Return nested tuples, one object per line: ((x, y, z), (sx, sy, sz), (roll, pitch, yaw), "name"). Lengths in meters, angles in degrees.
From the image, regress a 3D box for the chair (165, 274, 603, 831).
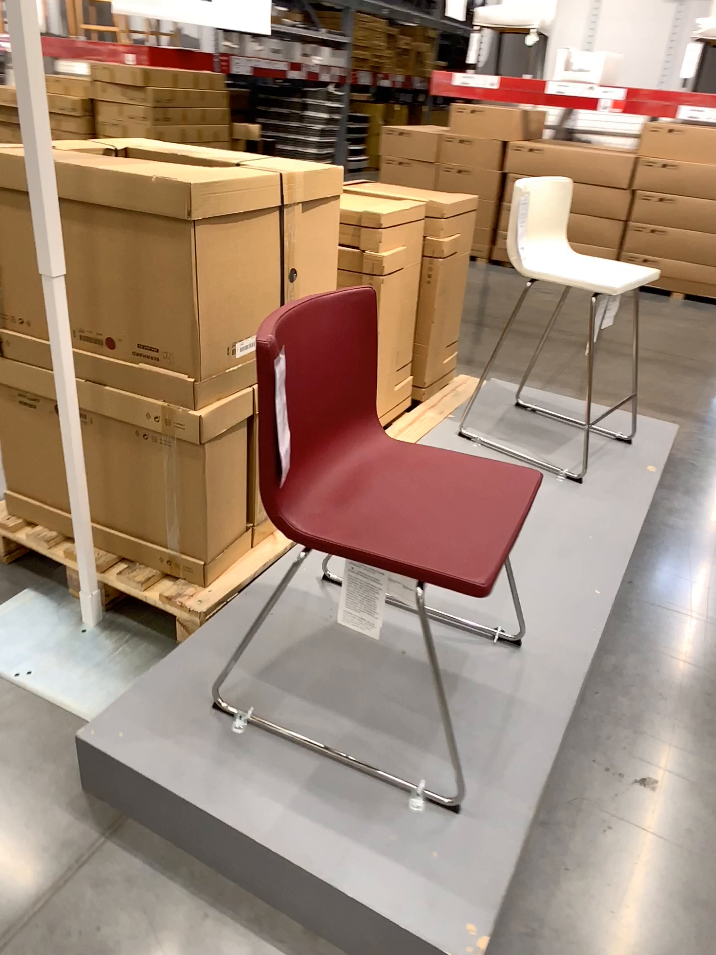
((0.052, 0.086, 1.346), (0.550, 0.726, 0.533), (16, 30, 19), "chair")
